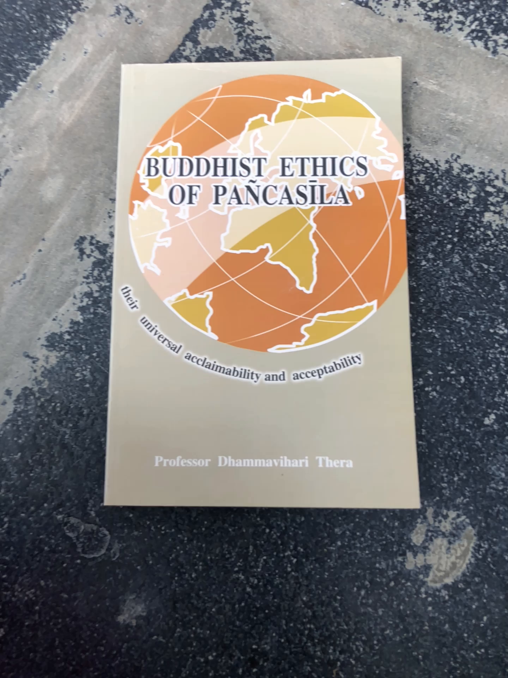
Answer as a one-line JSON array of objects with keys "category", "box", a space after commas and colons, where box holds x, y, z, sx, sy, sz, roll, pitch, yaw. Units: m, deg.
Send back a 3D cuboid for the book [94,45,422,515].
[{"category": "book", "box": [0.000, -0.034, 0.265, 0.140, 0.010, 0.220, -1, 80, 0]}]
